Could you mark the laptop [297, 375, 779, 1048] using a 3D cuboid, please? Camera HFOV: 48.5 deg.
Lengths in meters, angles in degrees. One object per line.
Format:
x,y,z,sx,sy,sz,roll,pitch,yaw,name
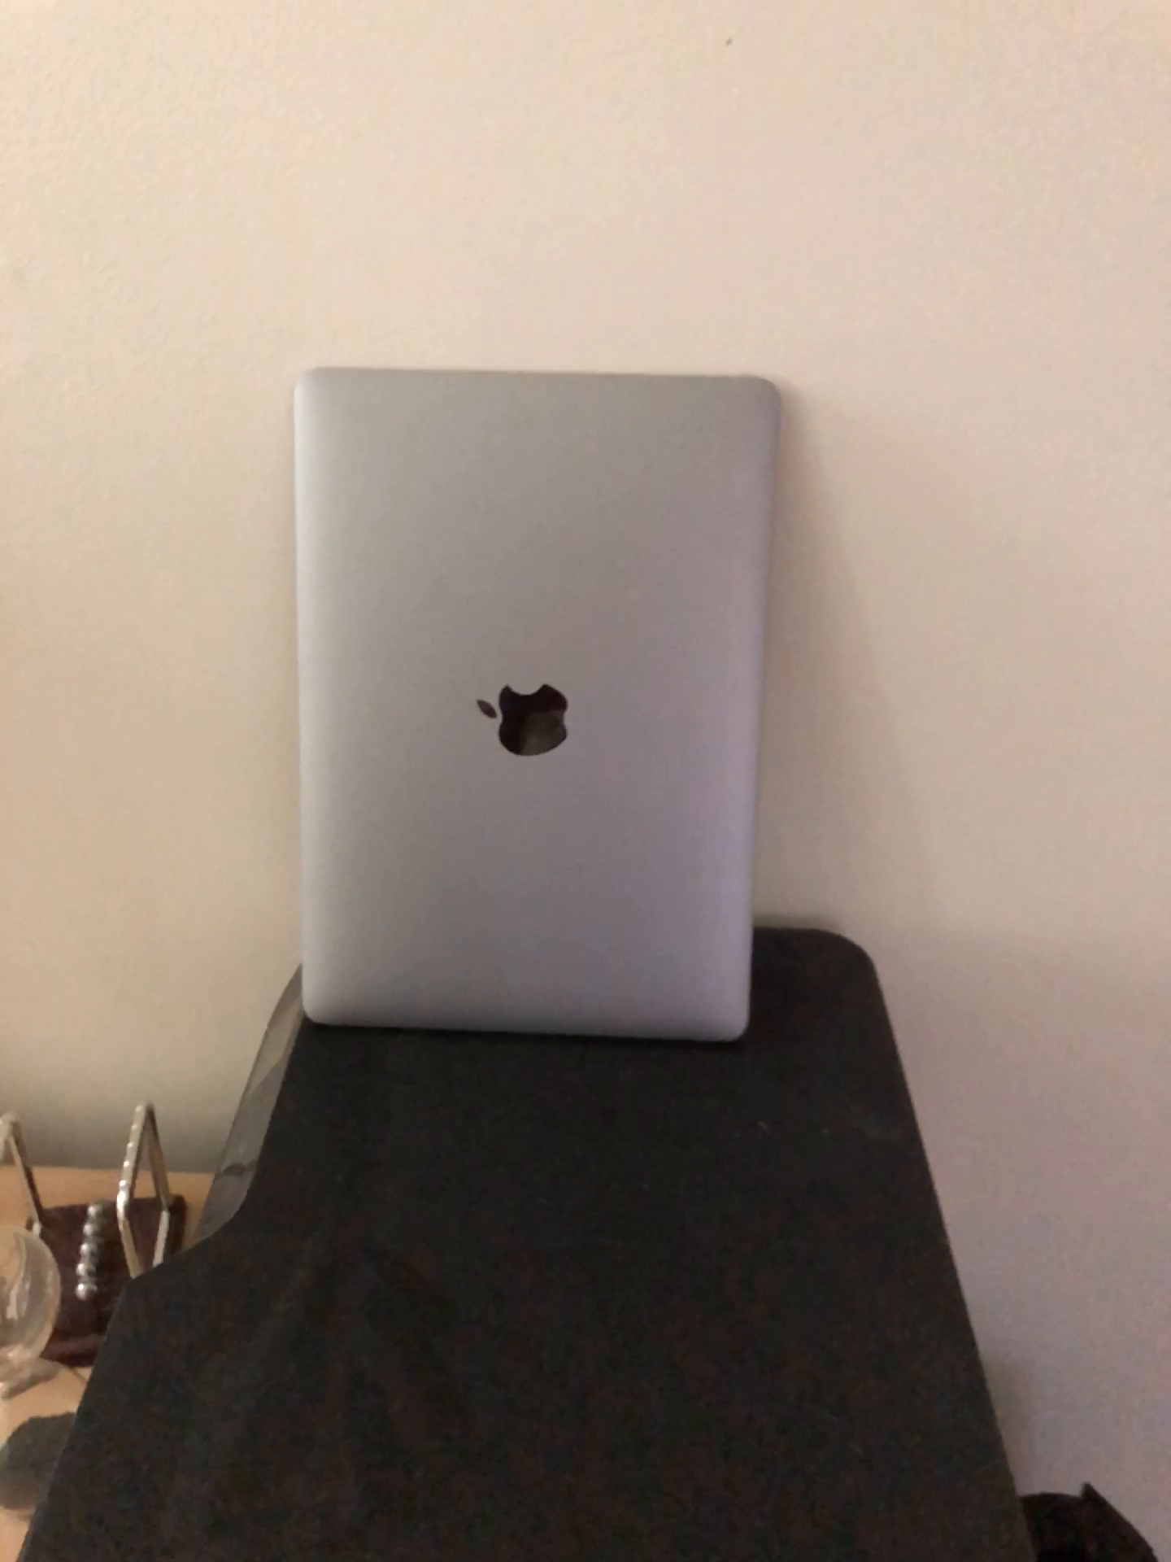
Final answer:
-0.025,-0.024,0.549,0.196,0.275,0.002,2,9,3,laptop
